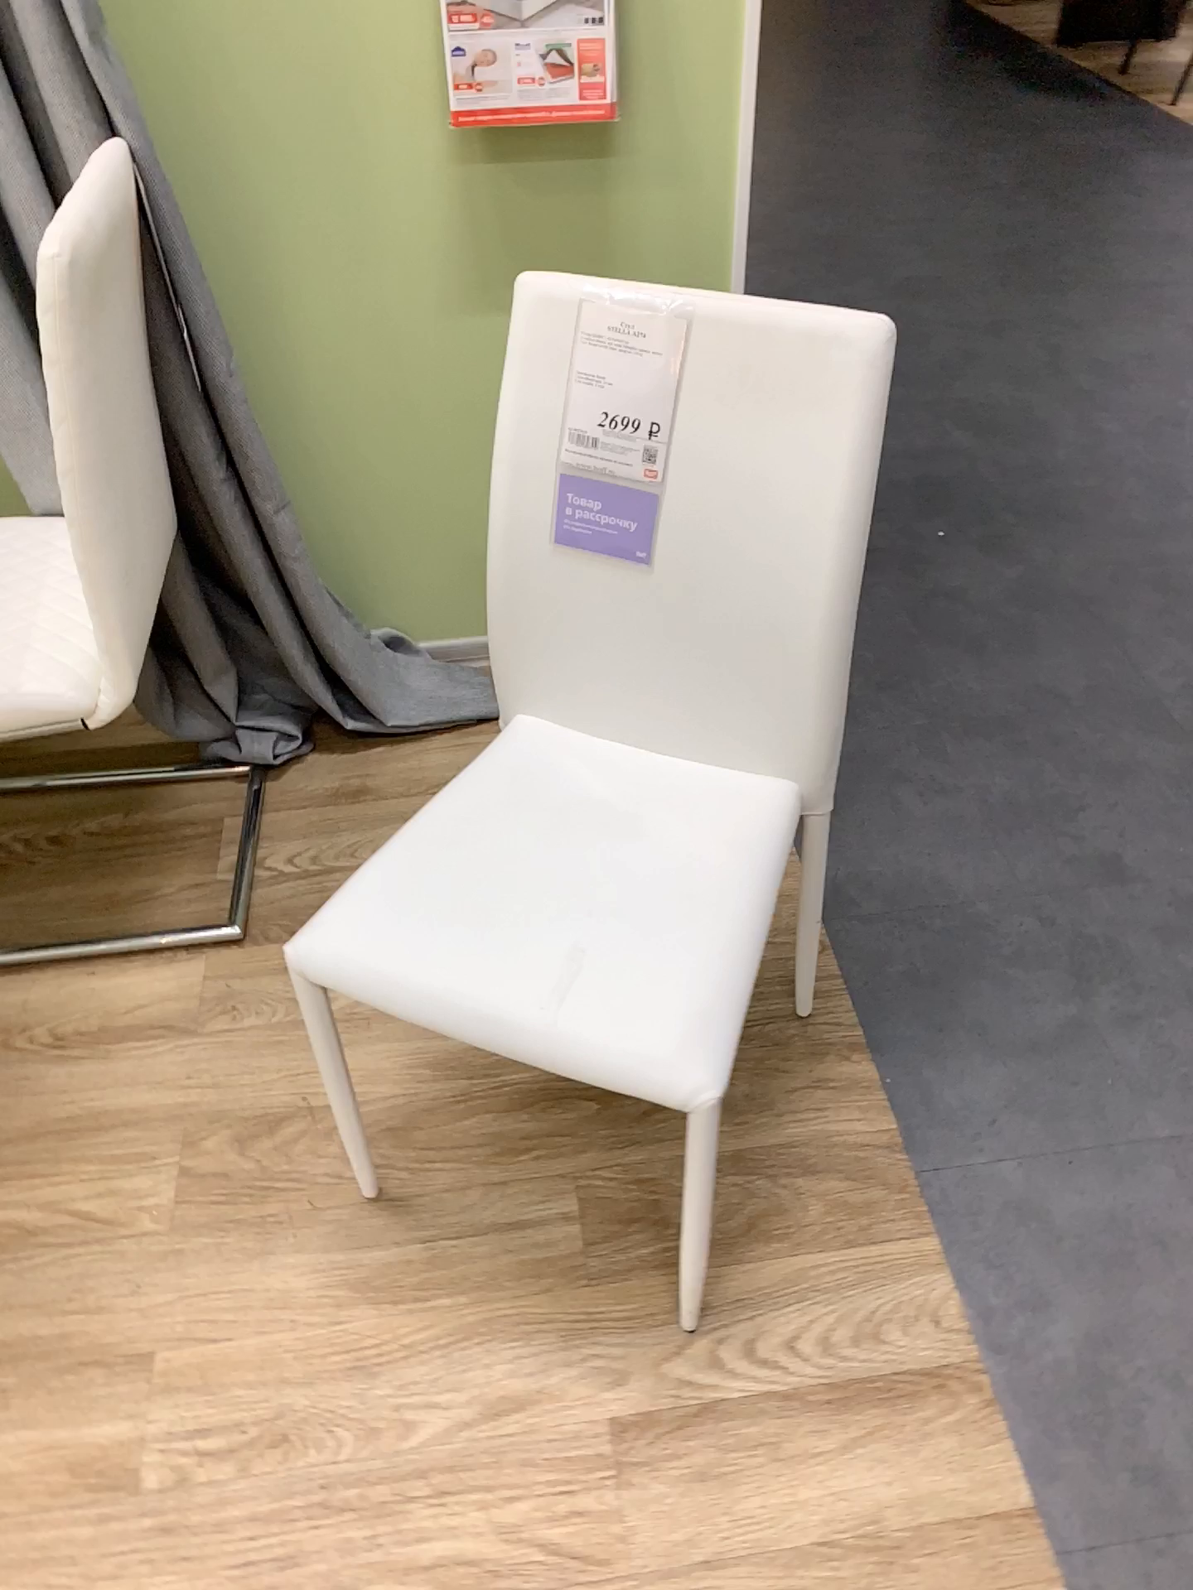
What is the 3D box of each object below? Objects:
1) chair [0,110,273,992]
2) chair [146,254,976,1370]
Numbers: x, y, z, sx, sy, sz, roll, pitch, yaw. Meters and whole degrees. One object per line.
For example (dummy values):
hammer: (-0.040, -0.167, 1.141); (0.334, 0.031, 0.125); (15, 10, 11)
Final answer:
chair: (-0.799, -0.260, 1.531); (0.560, 0.945, 0.452); (-6, 42, -4)
chair: (0.022, 0.042, 1.248); (0.450, 0.925, 0.553); (15, 45, 18)
